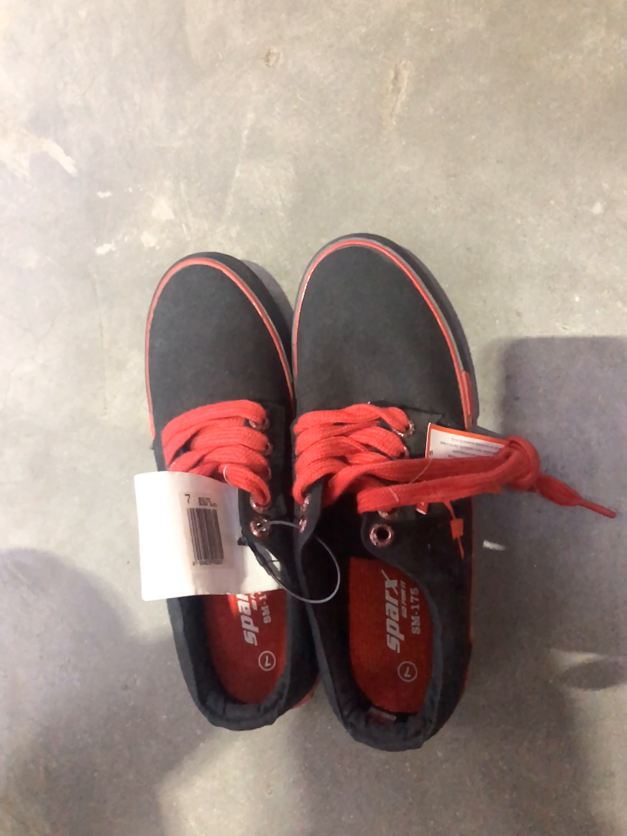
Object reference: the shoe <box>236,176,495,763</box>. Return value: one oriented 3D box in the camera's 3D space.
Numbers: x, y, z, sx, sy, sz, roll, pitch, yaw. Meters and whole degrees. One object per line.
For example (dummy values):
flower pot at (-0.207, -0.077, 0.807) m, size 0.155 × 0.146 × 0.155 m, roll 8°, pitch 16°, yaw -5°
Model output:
shoe at (0.031, 0.024, 0.359) m, size 0.100 × 0.100 × 0.250 m, roll -4°, pitch 85°, yaw 18°

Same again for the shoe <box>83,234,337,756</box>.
shoe at (-0.053, 0.039, 0.397) m, size 0.100 × 0.100 × 0.250 m, roll -7°, pitch 84°, yaw 2°
